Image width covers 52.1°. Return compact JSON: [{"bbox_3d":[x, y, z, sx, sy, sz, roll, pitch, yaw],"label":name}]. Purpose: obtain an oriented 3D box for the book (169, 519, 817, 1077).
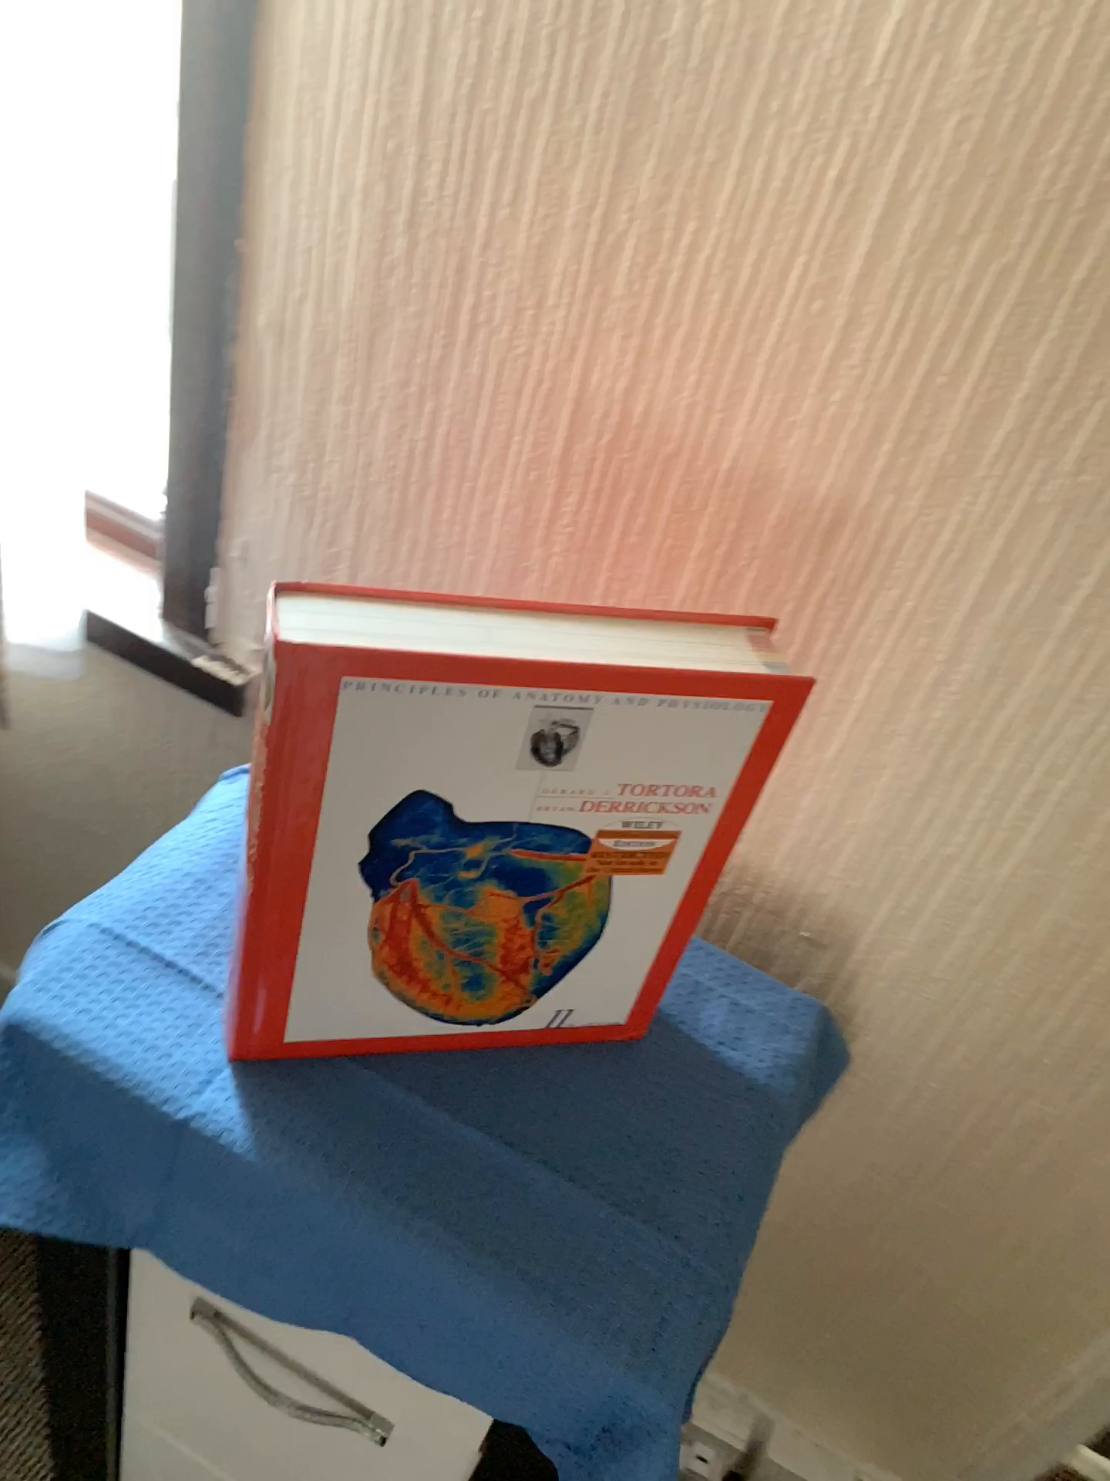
[{"bbox_3d":[-0.048,0.046,0.562,0.260,0.287,0.061,2,38,-19],"label":"book"}]
